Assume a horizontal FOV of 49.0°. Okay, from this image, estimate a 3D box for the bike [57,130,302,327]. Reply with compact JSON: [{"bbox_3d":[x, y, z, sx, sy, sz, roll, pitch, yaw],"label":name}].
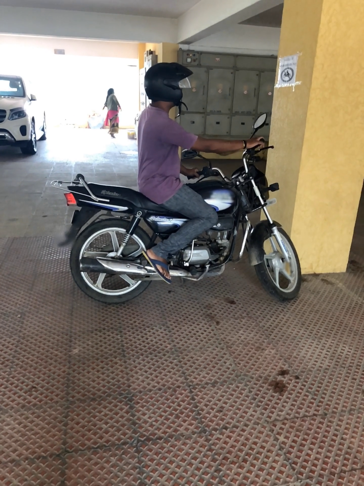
[{"bbox_3d":[-0.047,-0.137,2.994,1.543,1.195,0.769,-1,20,-13],"label":"bike"}]
